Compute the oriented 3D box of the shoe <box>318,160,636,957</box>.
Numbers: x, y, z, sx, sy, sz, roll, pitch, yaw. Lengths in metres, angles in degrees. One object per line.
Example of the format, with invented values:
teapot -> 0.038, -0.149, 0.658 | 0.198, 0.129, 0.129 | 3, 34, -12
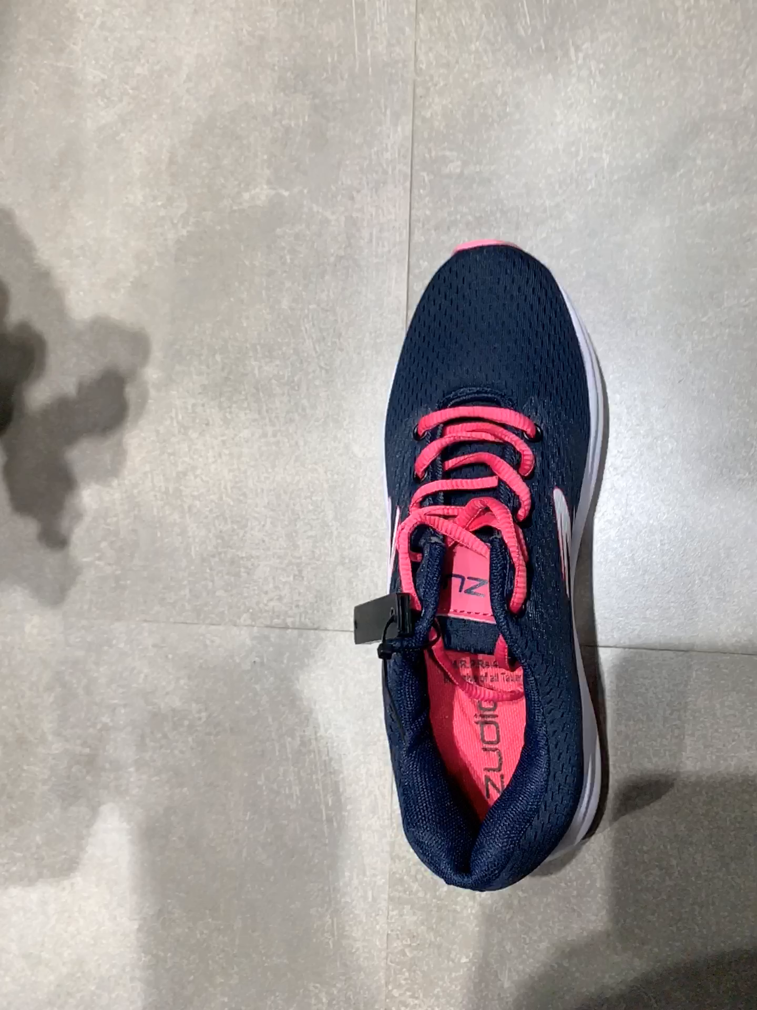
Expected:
shoe -> 0.040, 0.017, 0.301 | 0.095, 0.090, 0.248 | -4, 83, 19
